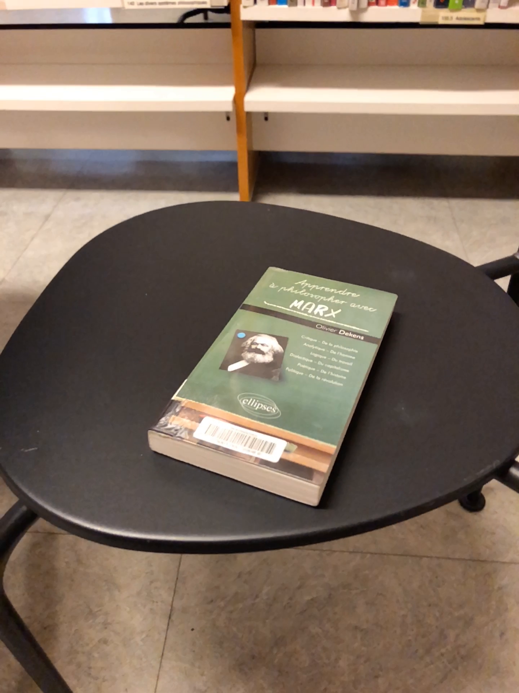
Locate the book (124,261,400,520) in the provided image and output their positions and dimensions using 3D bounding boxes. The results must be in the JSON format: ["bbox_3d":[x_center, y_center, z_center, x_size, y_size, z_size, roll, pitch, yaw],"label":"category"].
[{"bbox_3d":[0.012,0.012,0.365,0.110,0.024,0.178,15,44,19],"label":"book"}]
